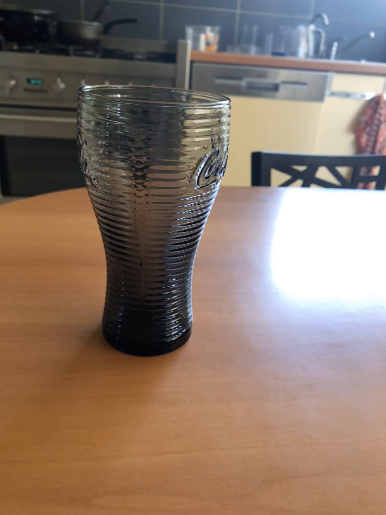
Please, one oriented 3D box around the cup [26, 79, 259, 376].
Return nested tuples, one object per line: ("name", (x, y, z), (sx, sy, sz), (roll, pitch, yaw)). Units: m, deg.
("cup", (-0.026, -0.024, 0.238), (0.080, 0.129, 0.081), (4, 25, -2))
